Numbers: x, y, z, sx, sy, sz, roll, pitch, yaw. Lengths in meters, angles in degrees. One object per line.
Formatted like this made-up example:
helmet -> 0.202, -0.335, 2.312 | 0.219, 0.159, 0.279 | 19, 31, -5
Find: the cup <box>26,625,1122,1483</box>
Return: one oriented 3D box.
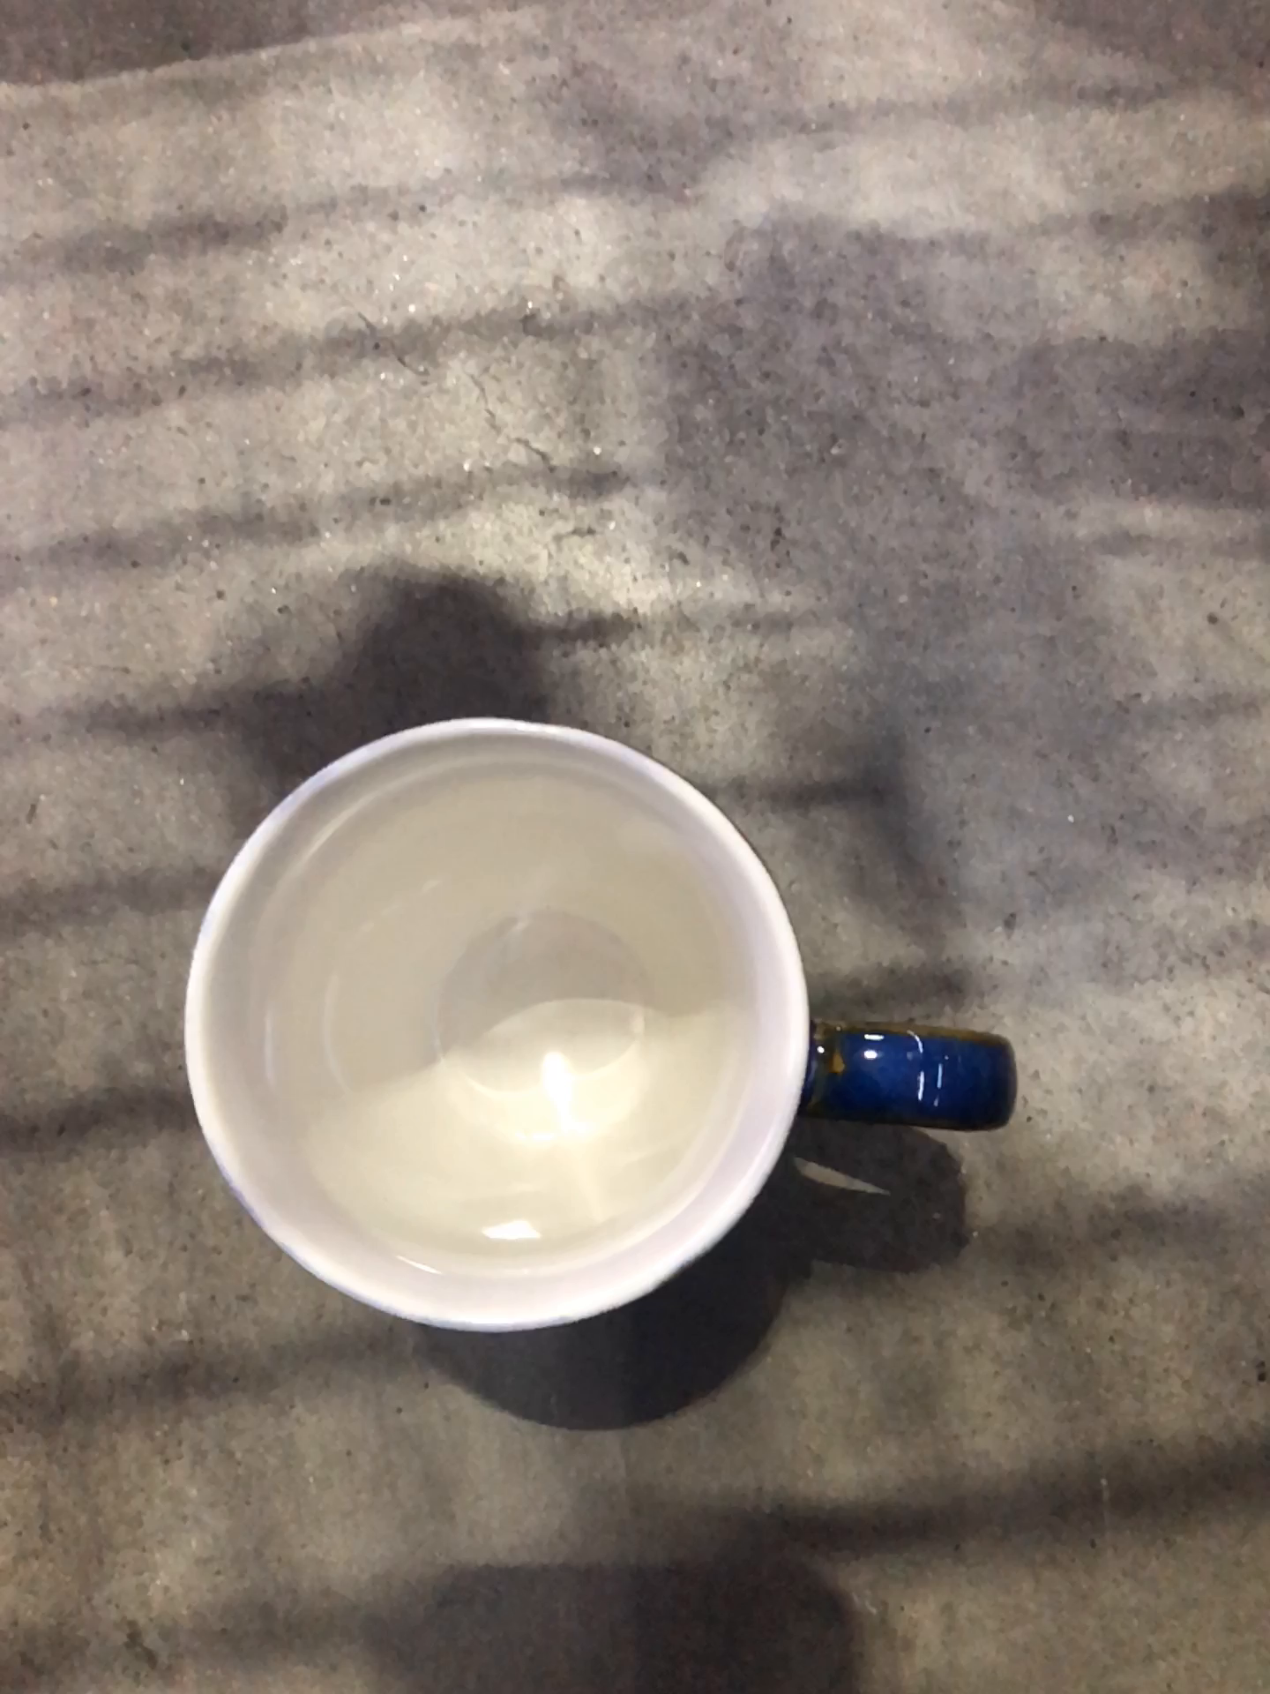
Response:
cup -> -0.004, 0.025, 0.187 | 0.110, 0.070, 0.080 | 6, 82, 3
